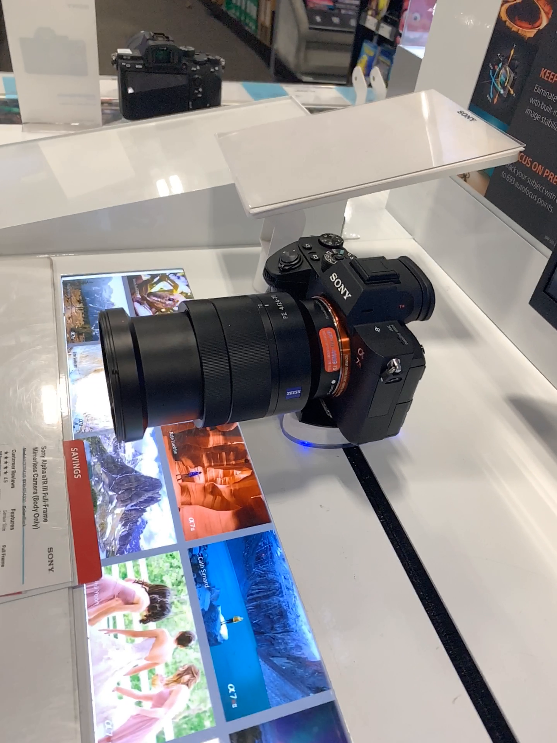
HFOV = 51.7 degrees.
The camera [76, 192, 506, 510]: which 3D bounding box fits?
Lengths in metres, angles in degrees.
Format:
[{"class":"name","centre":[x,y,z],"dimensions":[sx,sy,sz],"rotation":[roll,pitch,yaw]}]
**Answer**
[{"class":"camera","centre":[-0.003,-0.025,0.333],"dimensions":[0.193,0.099,0.131],"rotation":[-9,43,-20]}]
